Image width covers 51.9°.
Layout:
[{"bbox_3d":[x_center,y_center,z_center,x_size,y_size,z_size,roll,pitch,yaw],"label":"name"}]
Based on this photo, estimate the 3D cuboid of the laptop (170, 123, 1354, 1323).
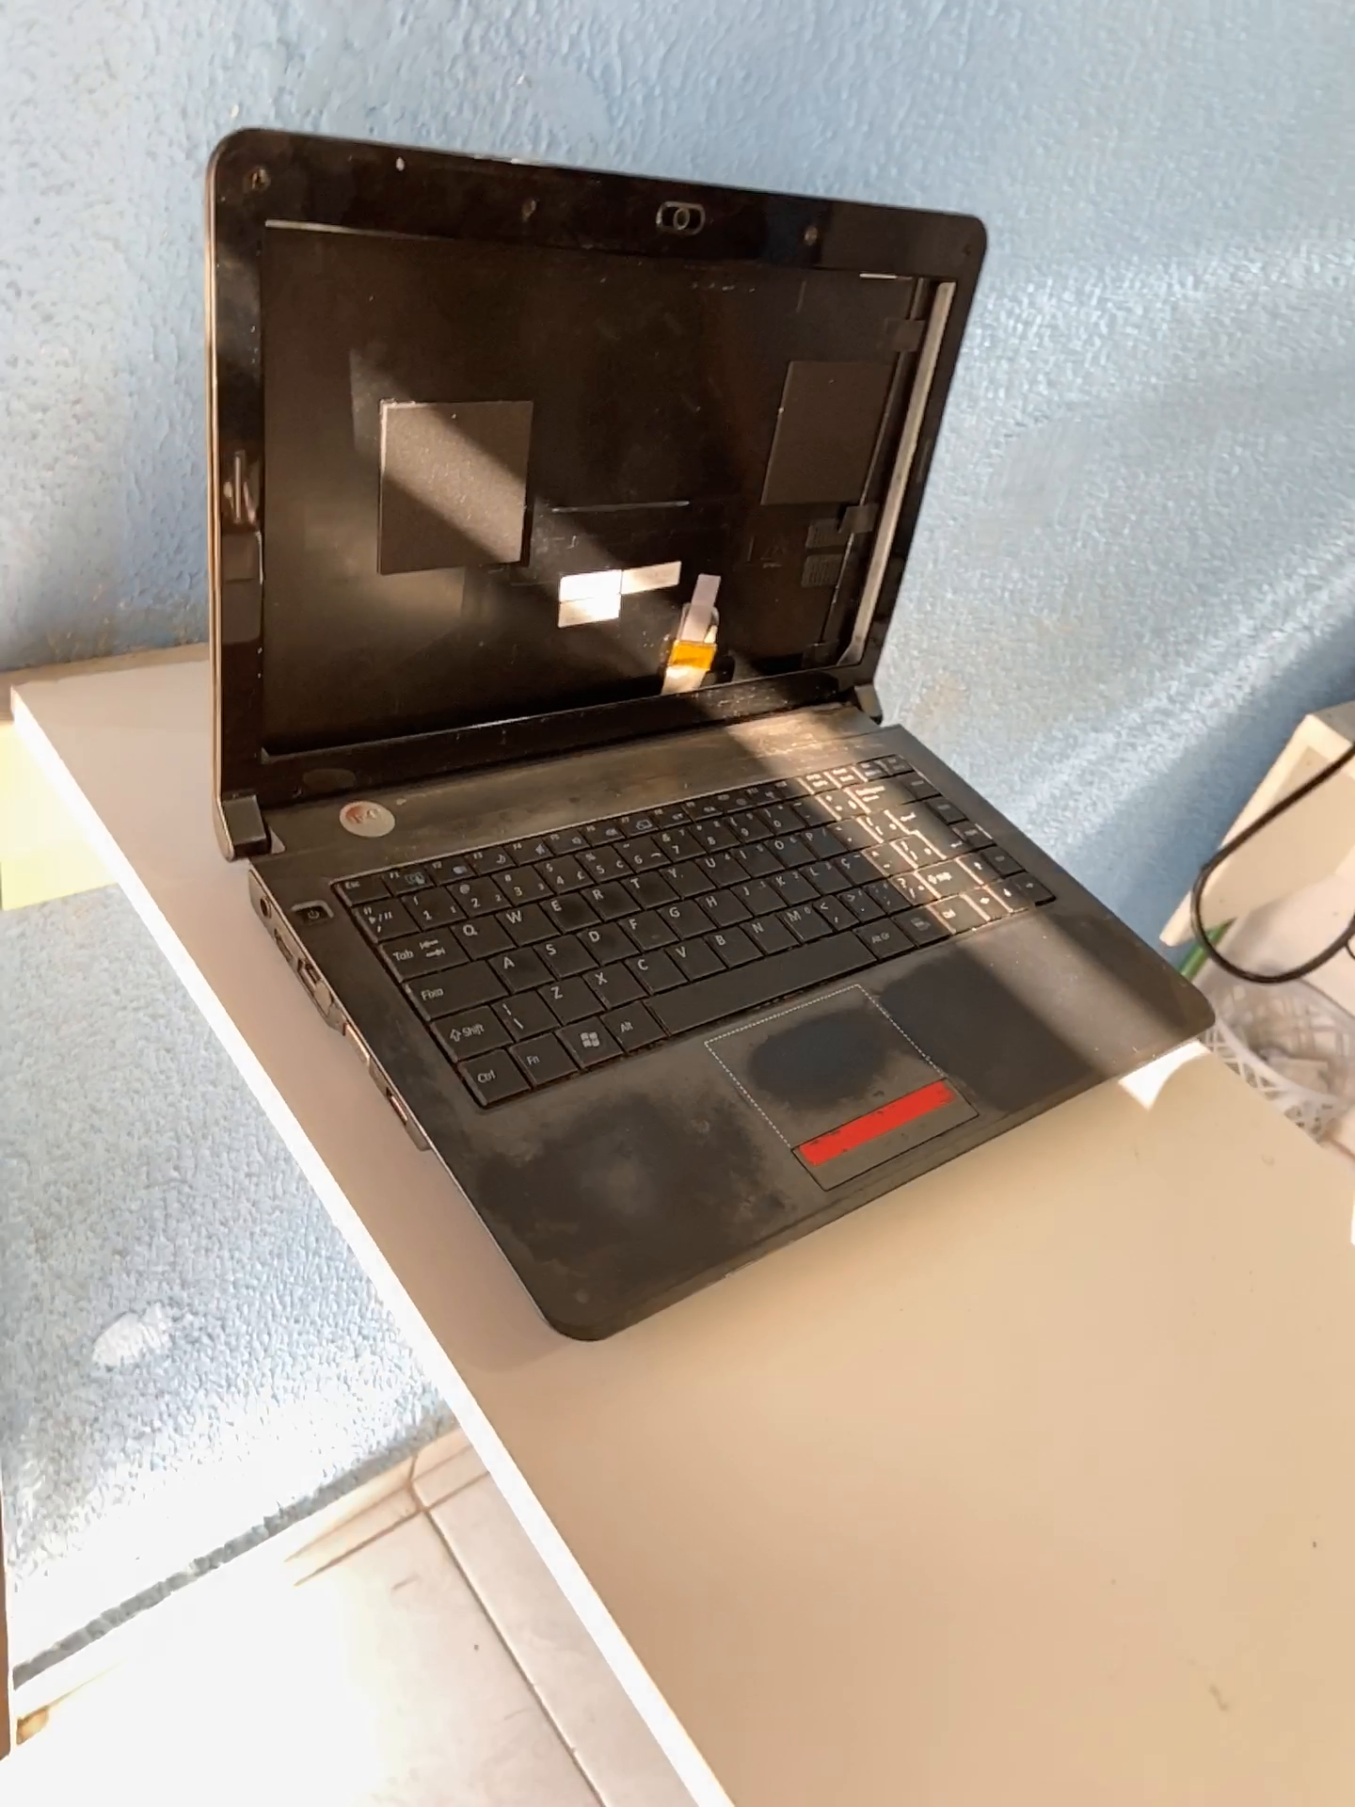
[{"bbox_3d":[0.047,-0.087,0.498,0.335,0.216,0.276,-16,51,-38],"label":"laptop"}]
